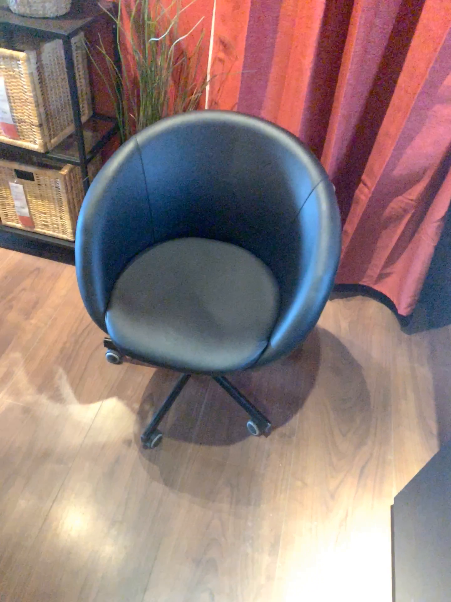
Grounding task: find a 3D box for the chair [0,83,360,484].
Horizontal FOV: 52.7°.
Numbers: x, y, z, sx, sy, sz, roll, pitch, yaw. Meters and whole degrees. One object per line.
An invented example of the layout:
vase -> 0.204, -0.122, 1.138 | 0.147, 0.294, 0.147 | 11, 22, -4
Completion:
chair -> -0.074, -0.038, 1.290 | 0.670, 0.757, 0.672 | 13, 47, 4
